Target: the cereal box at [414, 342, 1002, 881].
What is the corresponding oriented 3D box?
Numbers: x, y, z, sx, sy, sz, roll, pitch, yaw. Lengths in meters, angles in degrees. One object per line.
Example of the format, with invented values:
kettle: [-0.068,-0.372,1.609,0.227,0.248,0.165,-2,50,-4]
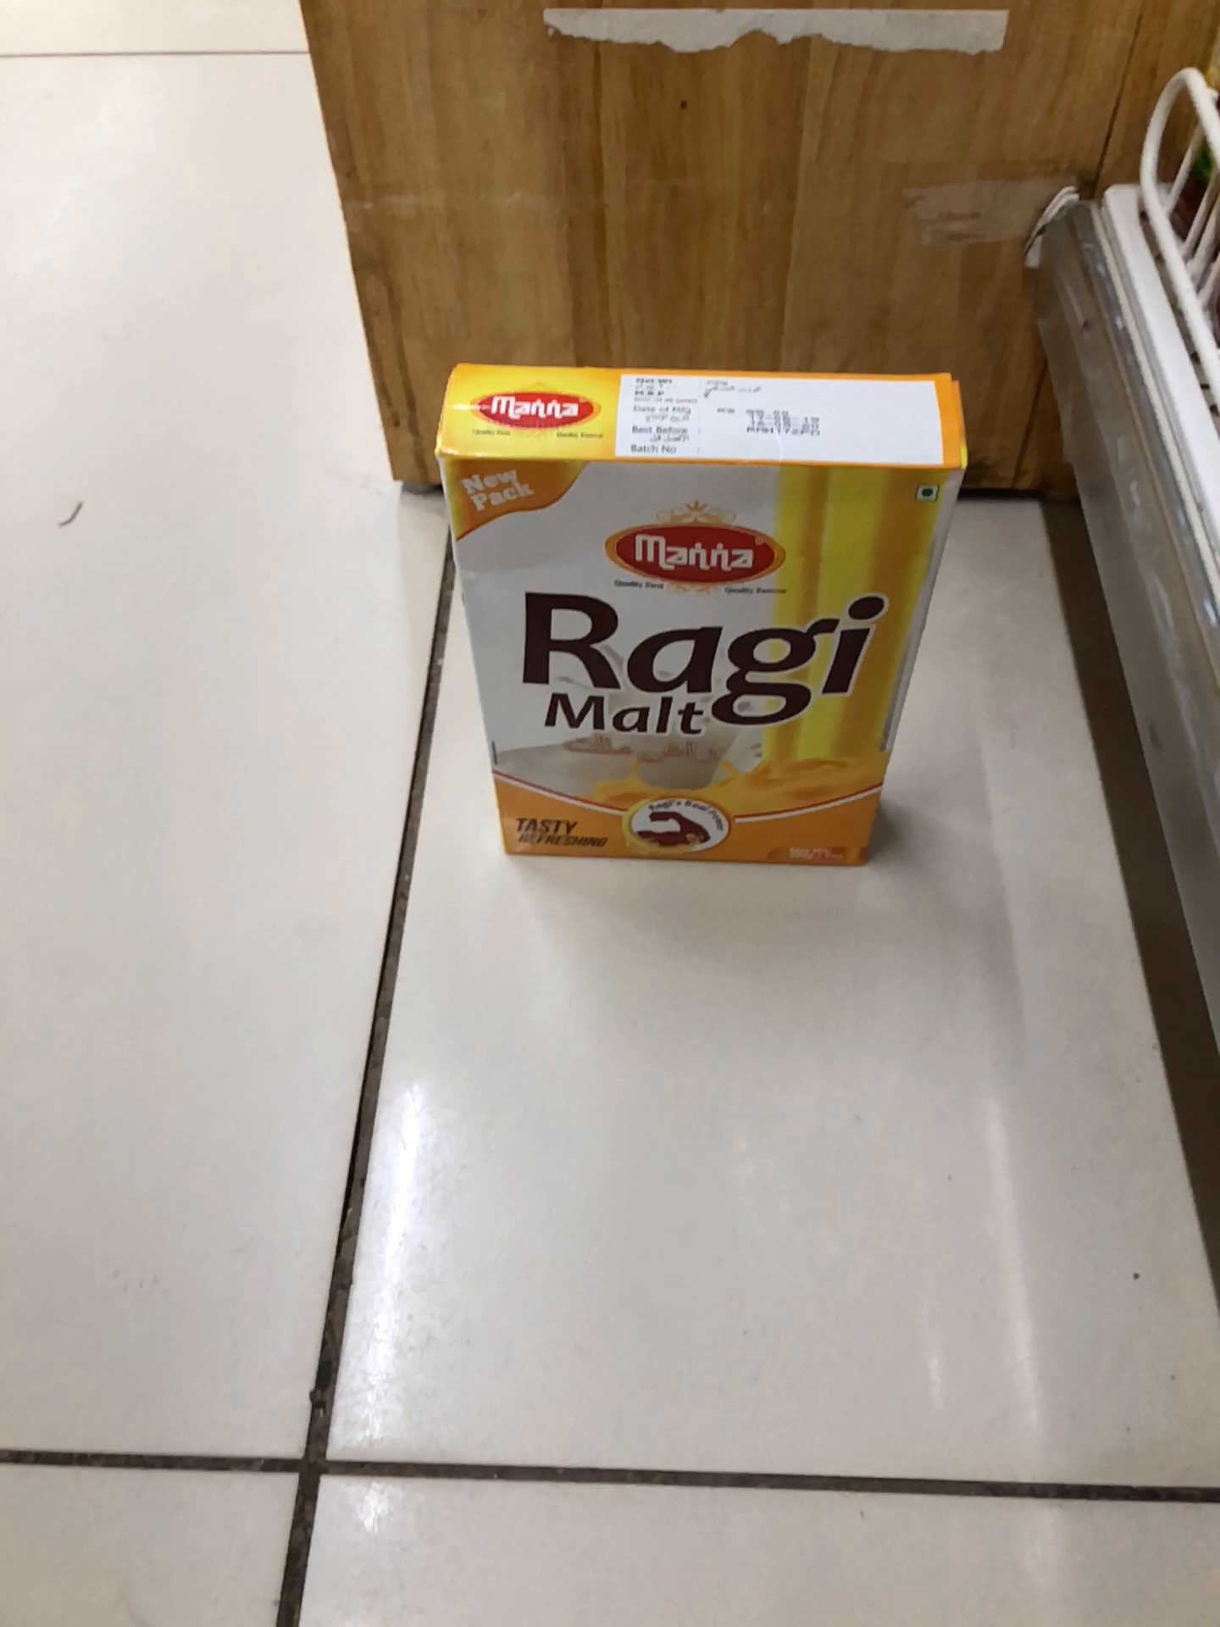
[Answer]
cereal box: [0.027,-0.050,0.405,0.140,0.179,0.040,2,53,4]
